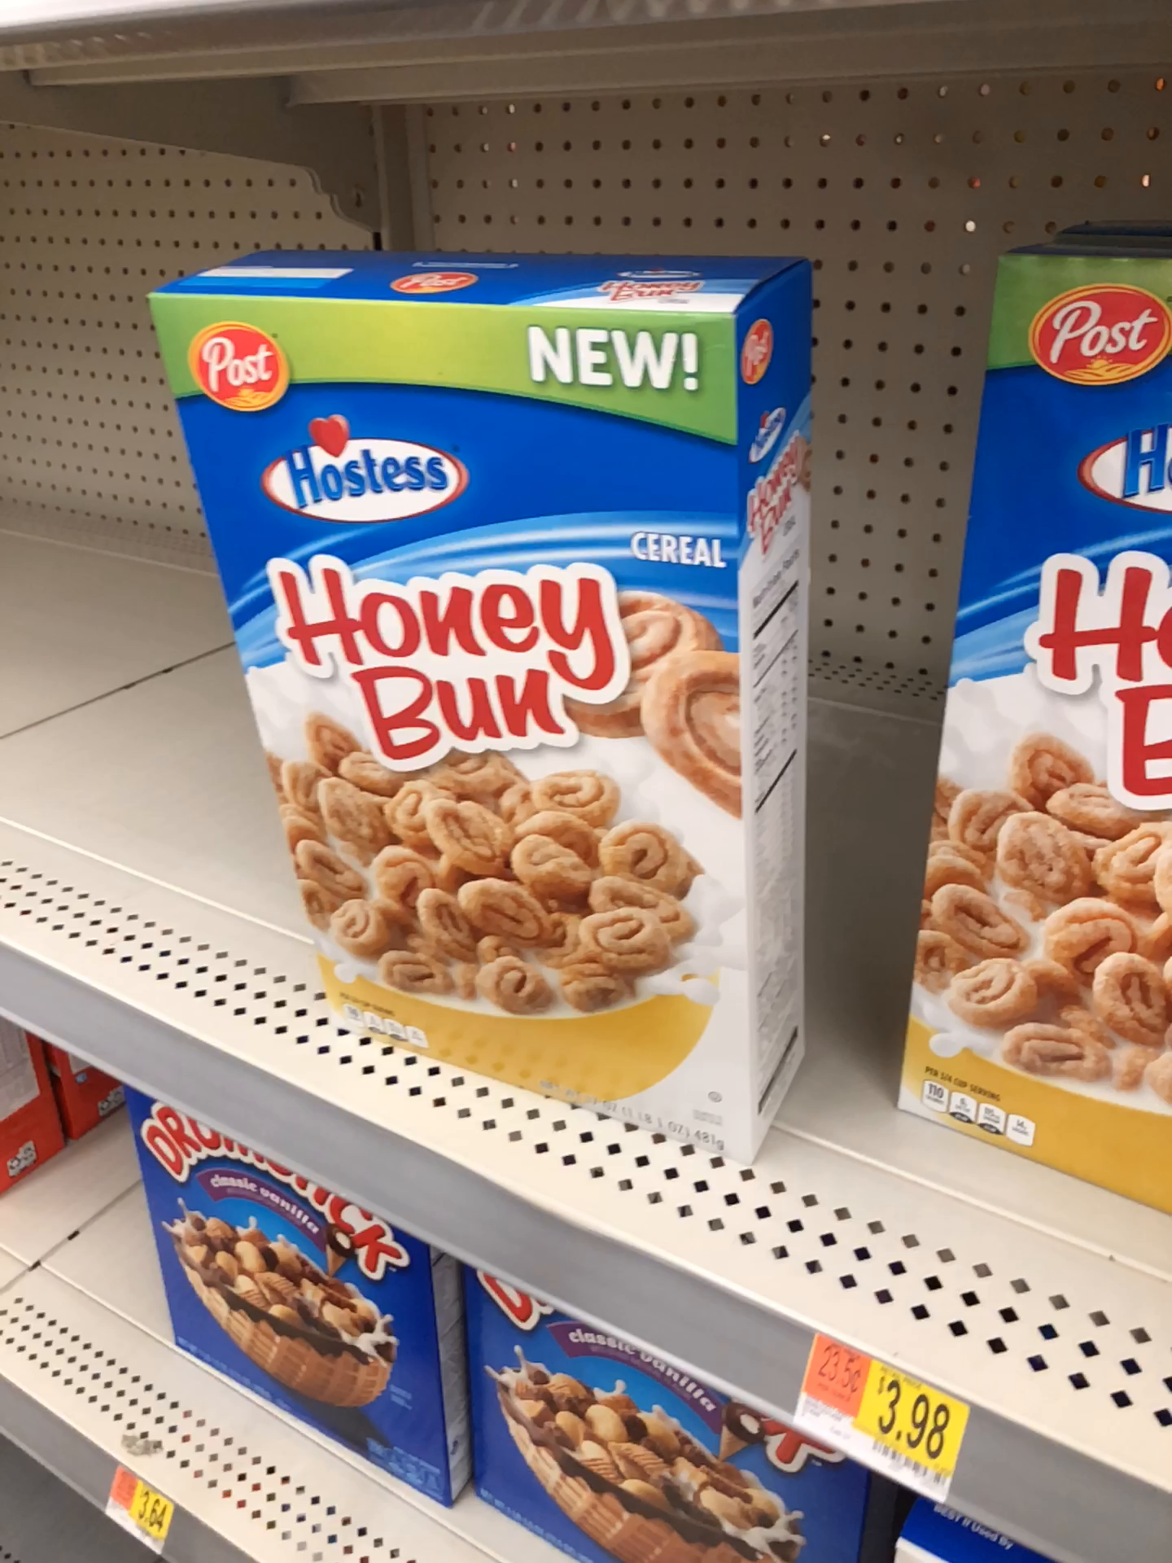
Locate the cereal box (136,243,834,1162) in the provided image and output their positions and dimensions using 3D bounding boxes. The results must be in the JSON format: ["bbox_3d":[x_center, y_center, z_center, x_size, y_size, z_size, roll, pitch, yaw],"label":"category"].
[{"bbox_3d":[-0.022,-0.025,0.460,0.200,0.299,0.070,12,36,26],"label":"cereal box"}]
